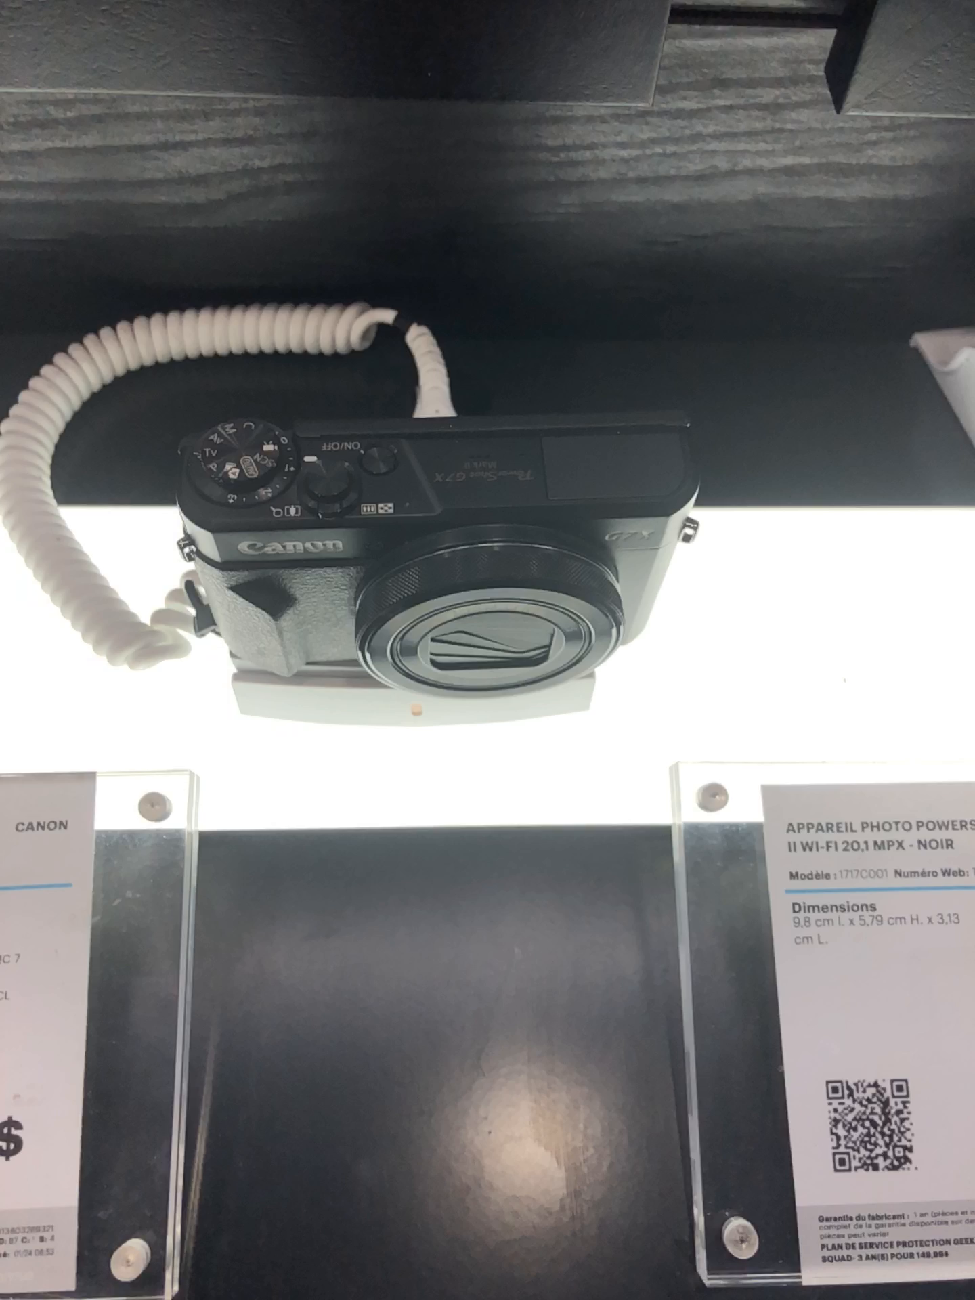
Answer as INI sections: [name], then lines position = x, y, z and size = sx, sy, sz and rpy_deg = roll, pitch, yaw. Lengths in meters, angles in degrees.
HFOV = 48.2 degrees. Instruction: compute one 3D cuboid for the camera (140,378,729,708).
[camera]
position = -0.012, -0.021, 0.246
size = 0.110, 0.080, 0.030
rpy_deg = -2, 60, -5
